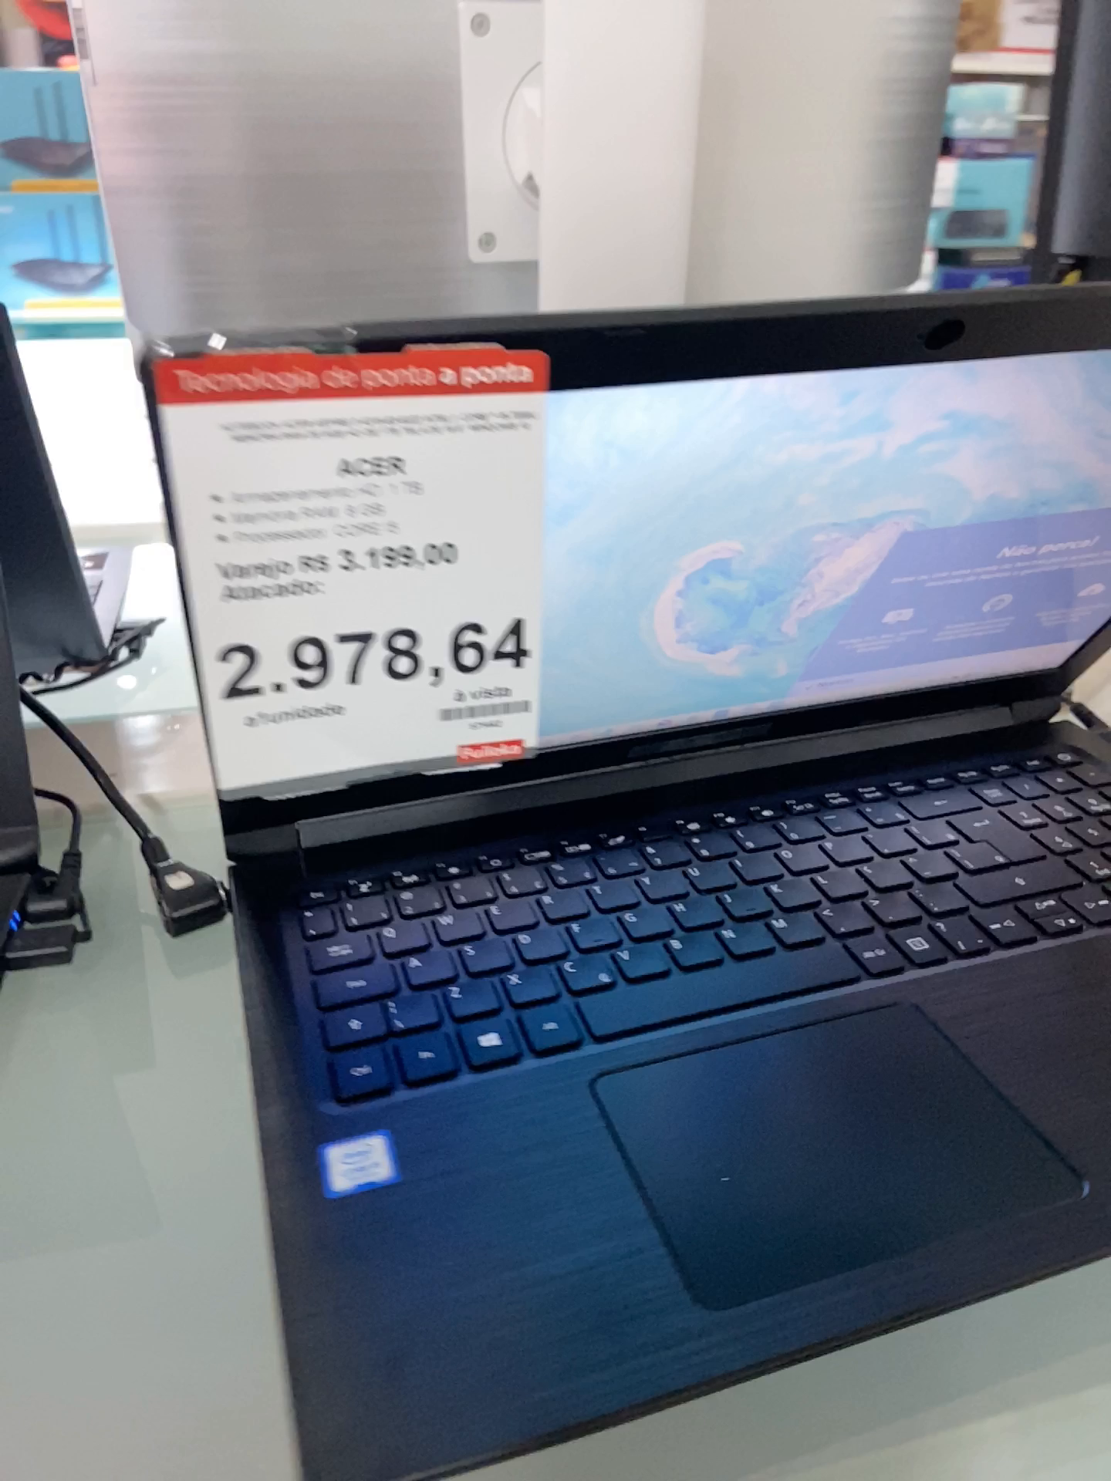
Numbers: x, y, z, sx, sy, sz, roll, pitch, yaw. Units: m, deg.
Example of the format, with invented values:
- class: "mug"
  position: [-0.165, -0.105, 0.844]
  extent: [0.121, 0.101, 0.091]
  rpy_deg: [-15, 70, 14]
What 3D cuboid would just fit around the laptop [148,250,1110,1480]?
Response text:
- class: "laptop"
  position: [0.093, -0.020, 0.329]
  extent: [0.367, 0.193, 0.235]
  rpy_deg: [-9, 27, -16]
